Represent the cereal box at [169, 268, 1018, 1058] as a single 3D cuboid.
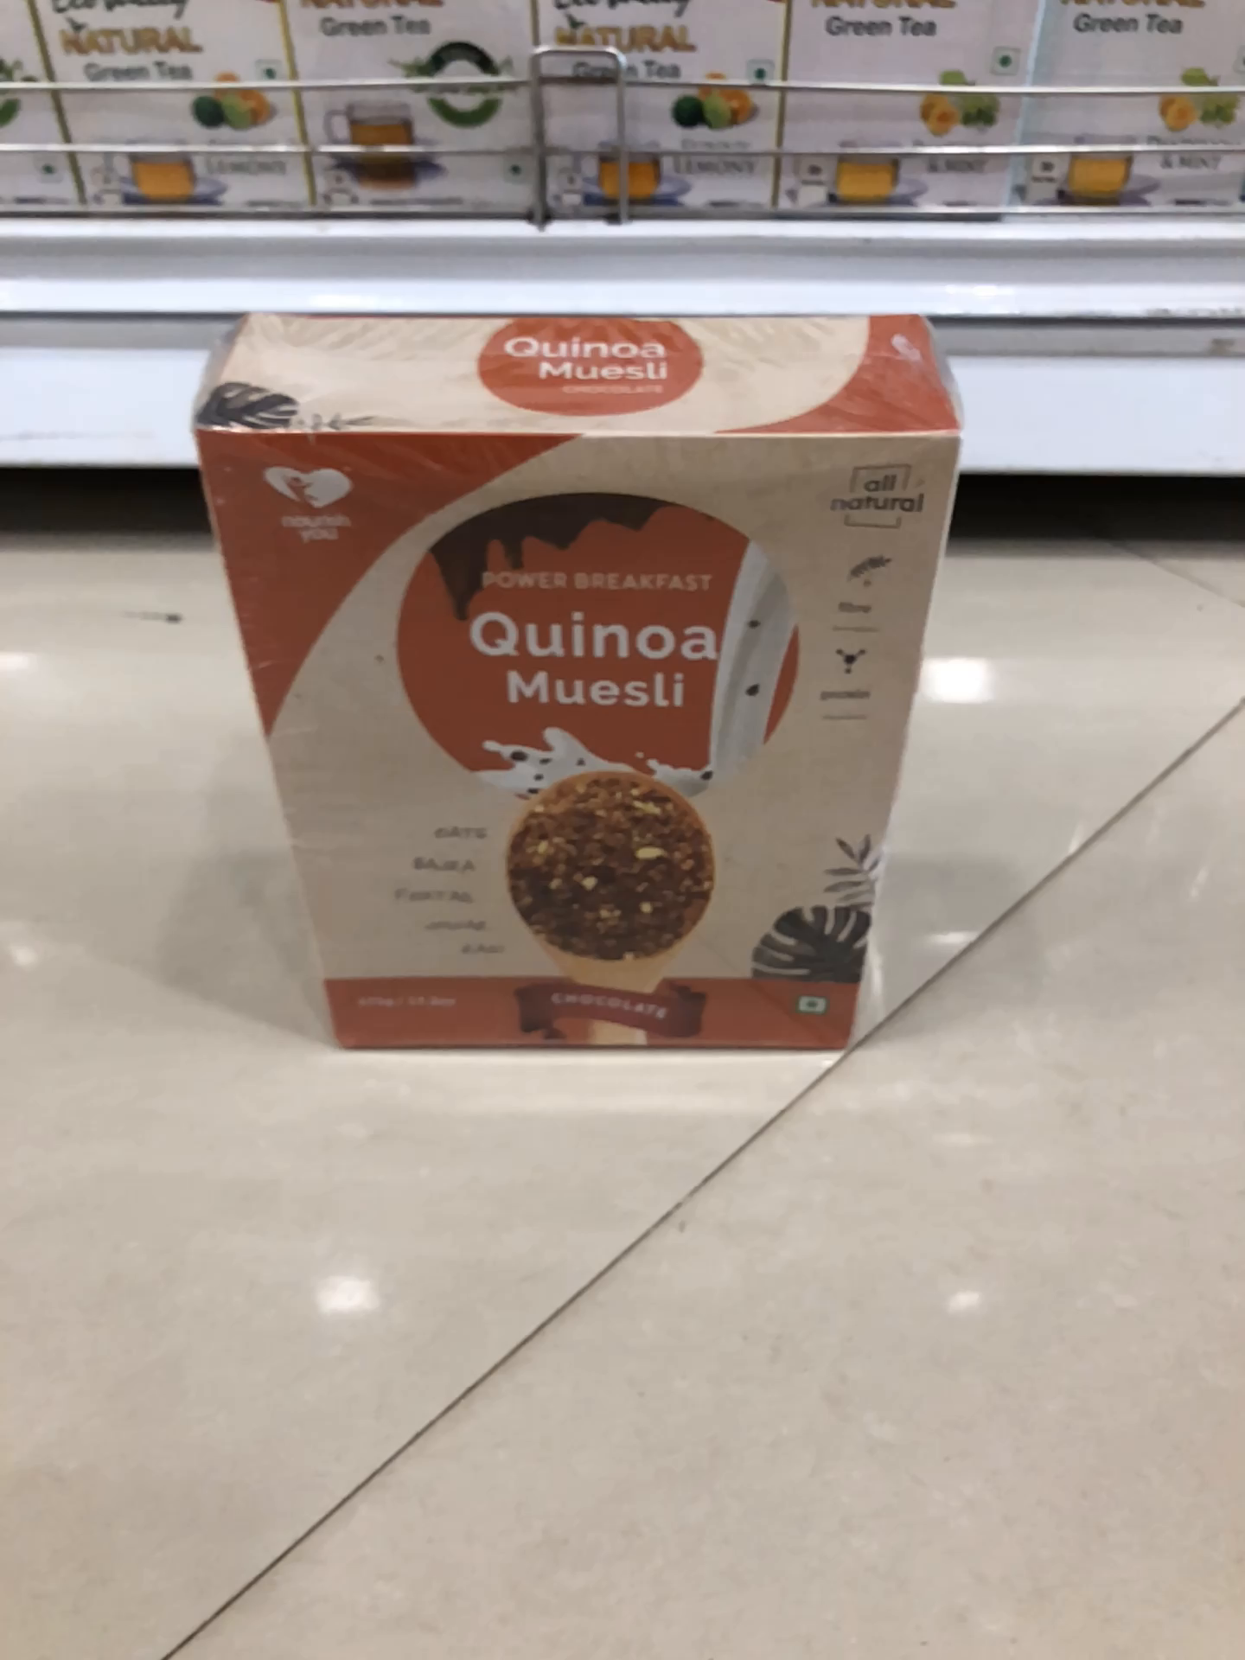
[{"bbox_3d":[-0.006,-0.026,0.359,0.160,0.219,0.050,0,46,-1],"label":"cereal box"}]
